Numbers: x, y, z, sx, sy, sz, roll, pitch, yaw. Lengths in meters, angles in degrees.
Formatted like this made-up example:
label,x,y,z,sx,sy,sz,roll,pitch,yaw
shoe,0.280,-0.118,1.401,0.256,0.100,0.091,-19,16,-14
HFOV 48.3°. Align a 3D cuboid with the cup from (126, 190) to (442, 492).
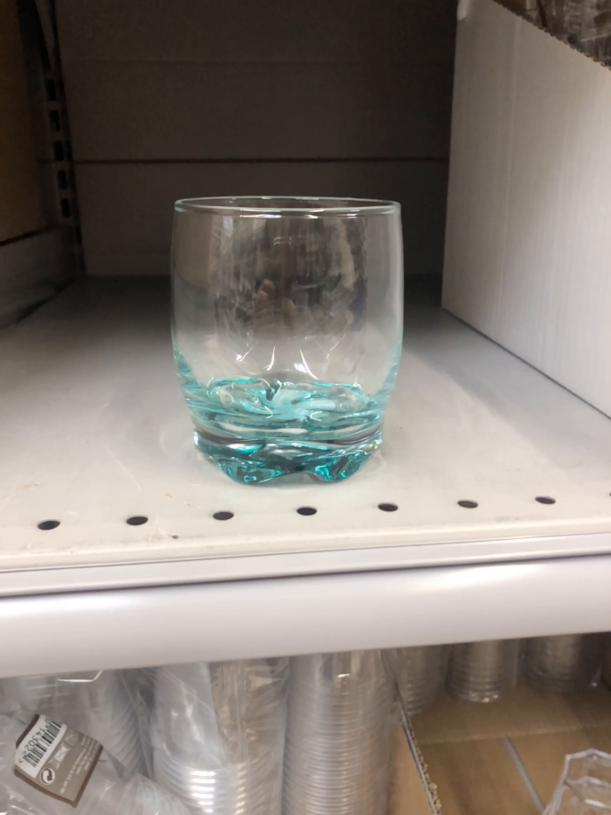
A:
label,x,y,z,sx,sy,sz,roll,pitch,yaw
cup,-0.006,-0.027,0.225,0.082,0.082,0.075,1,19,0
